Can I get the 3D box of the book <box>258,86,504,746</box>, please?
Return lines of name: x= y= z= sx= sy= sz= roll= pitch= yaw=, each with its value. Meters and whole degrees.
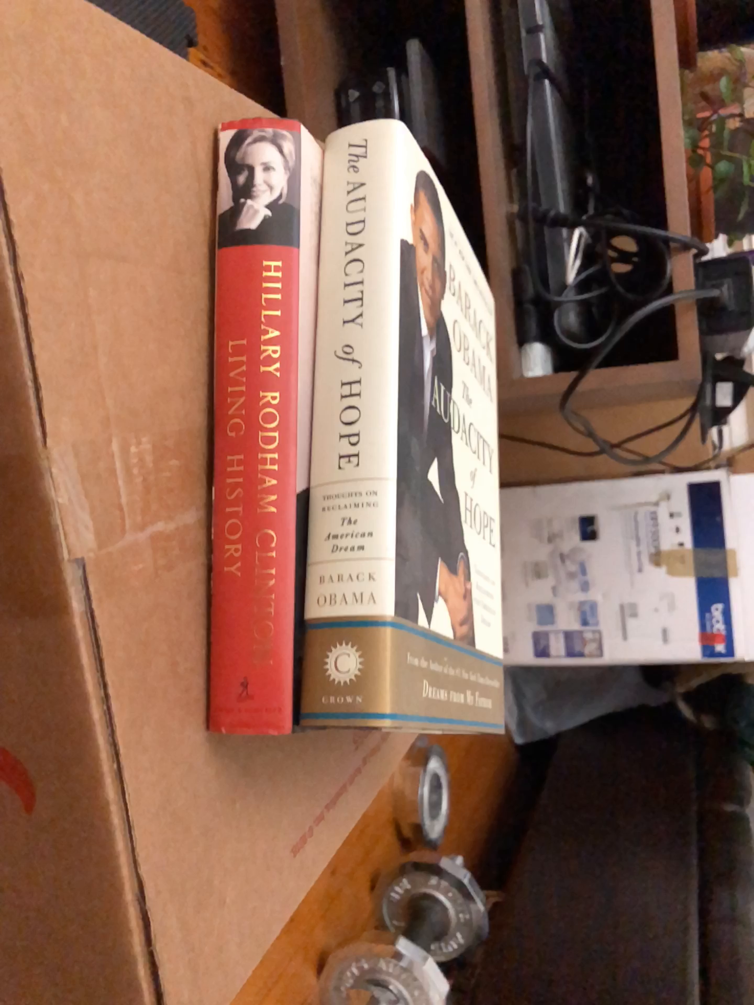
book: x=0.015 y=-0.018 z=0.389 sx=0.191 sy=0.040 sz=0.250 roll=36 pitch=52 yaw=-64

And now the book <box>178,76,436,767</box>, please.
book: x=-0.022 y=-0.023 z=0.379 sx=0.171 sy=0.040 sz=0.250 roll=23 pitch=64 yaw=-67
